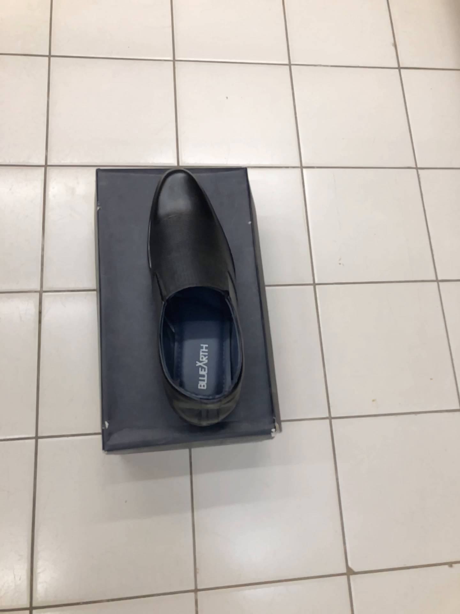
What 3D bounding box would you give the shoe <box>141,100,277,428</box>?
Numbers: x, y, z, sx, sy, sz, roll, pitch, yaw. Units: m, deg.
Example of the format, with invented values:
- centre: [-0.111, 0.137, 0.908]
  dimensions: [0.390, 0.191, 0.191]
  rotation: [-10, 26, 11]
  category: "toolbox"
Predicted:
- centre: [-0.034, -0.045, 0.568]
  dimensions: [0.100, 0.130, 0.341]
  rotation: [-5, 75, -9]
  category: "shoe"
